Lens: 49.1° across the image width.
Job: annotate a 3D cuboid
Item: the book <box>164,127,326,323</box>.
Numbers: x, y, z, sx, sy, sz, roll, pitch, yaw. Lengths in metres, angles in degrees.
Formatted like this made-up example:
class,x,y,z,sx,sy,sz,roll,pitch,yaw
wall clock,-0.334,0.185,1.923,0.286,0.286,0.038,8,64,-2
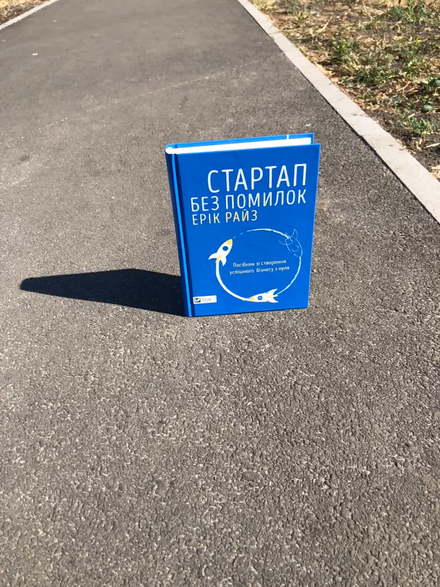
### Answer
class,x,y,z,sx,sy,sz,roll,pitch,yaw
book,0.030,-0.067,0.532,0.154,0.204,0.039,-5,34,0
